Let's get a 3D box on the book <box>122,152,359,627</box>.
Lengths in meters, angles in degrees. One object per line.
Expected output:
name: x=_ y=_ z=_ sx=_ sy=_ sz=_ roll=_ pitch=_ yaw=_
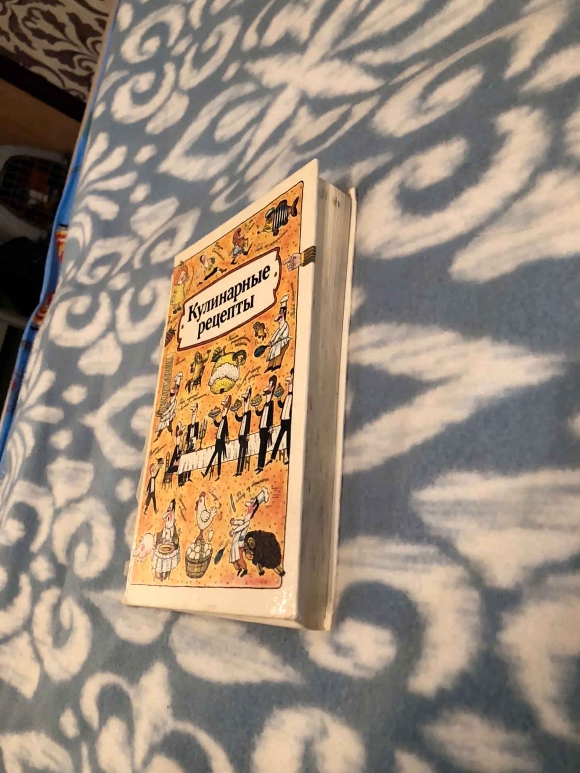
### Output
book: x=-0.028 y=0.007 z=0.343 sx=0.142 sy=0.032 sz=0.220 roll=-19 pitch=60 yaw=48
